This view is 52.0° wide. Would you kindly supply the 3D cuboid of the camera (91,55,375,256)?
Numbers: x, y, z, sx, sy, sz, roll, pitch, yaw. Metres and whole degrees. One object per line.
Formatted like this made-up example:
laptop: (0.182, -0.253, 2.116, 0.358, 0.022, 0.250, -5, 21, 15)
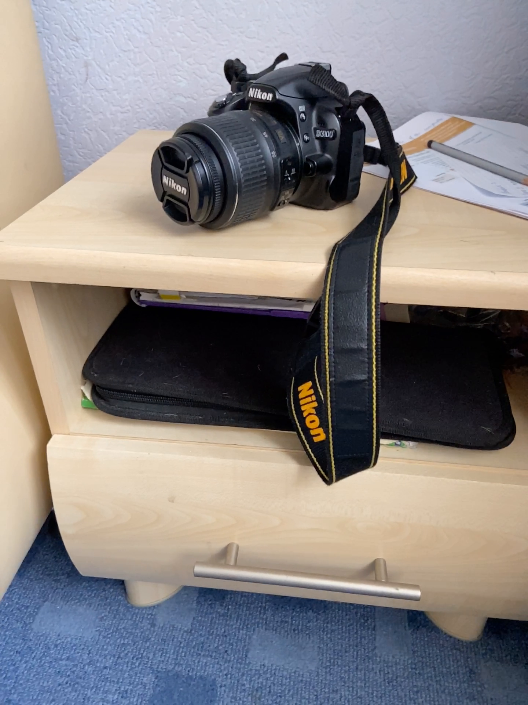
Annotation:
camera: (-0.018, -0.152, 0.390, 0.118, 0.091, 0.152, 28, 43, 35)
